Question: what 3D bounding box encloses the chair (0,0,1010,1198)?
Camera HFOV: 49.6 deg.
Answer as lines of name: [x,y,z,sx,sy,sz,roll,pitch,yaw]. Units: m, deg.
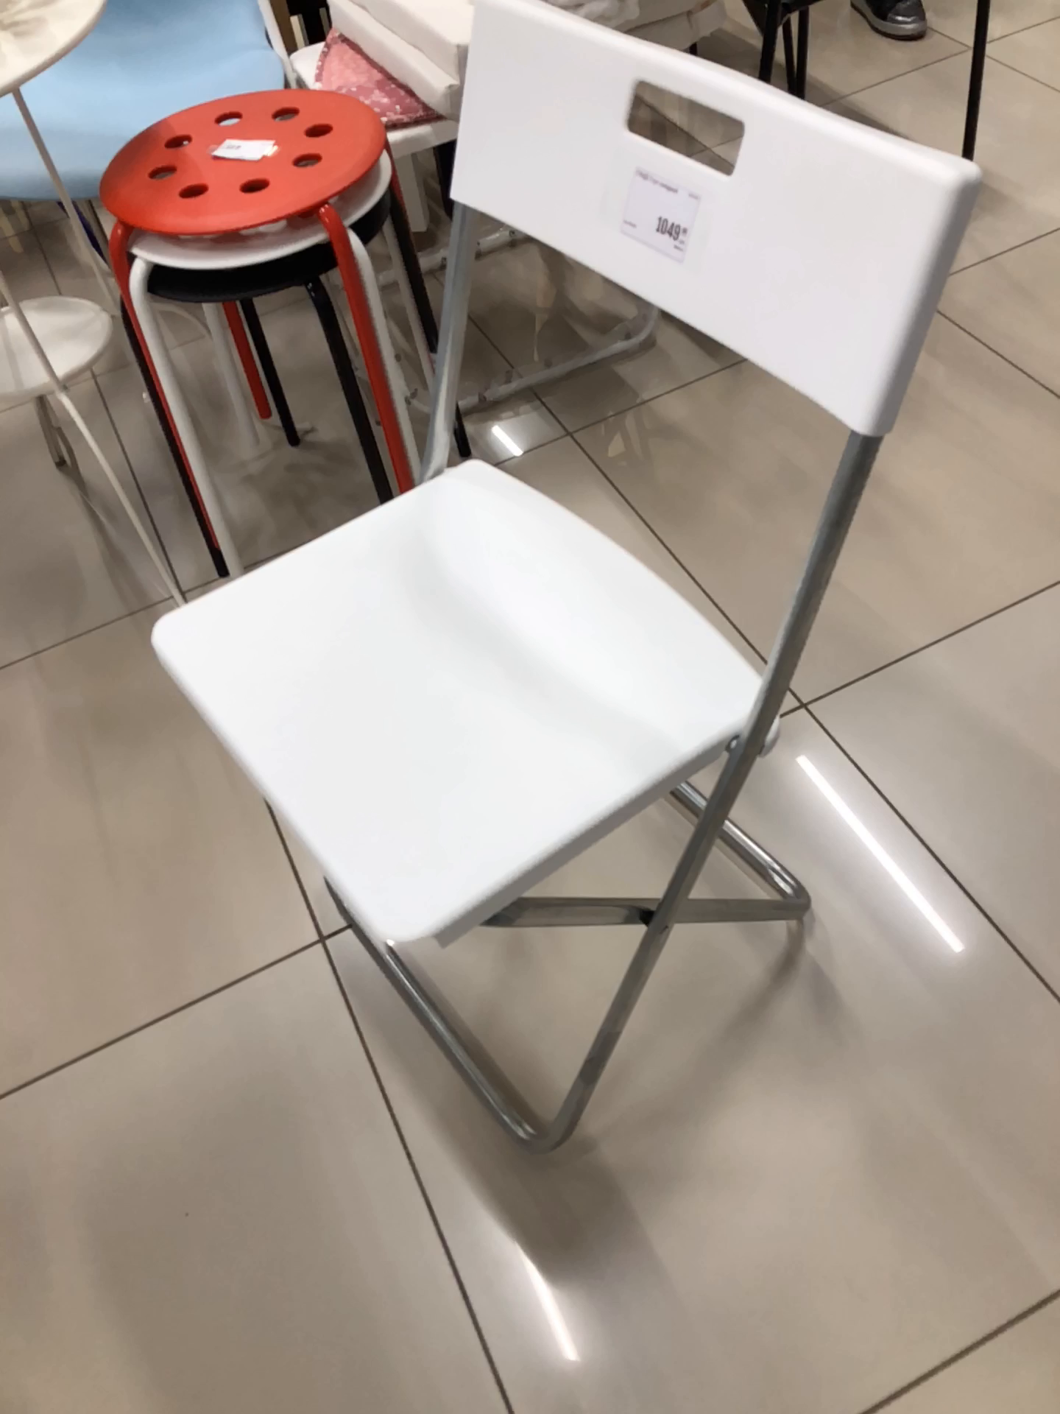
chair: [-0.017,-0.044,0.887,0.431,0.711,0.427,-33,53,-17]
